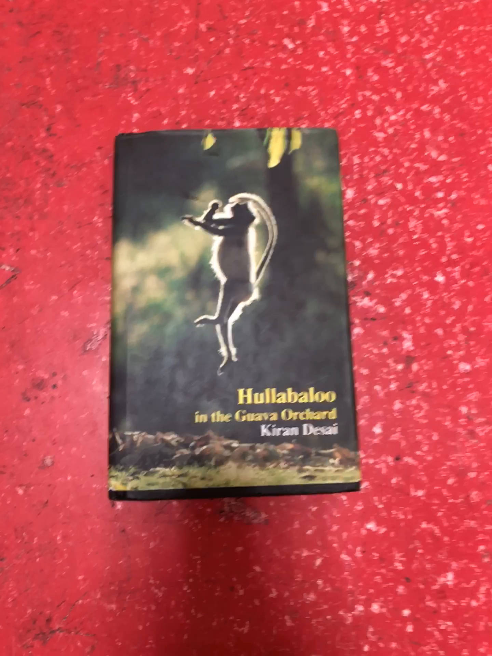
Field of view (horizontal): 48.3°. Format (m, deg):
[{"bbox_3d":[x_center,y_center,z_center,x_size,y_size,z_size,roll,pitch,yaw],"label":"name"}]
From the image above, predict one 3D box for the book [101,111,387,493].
[{"bbox_3d":[-0.005,-0.021,0.343,0.160,0.030,0.230,-2,79,-2],"label":"book"}]
